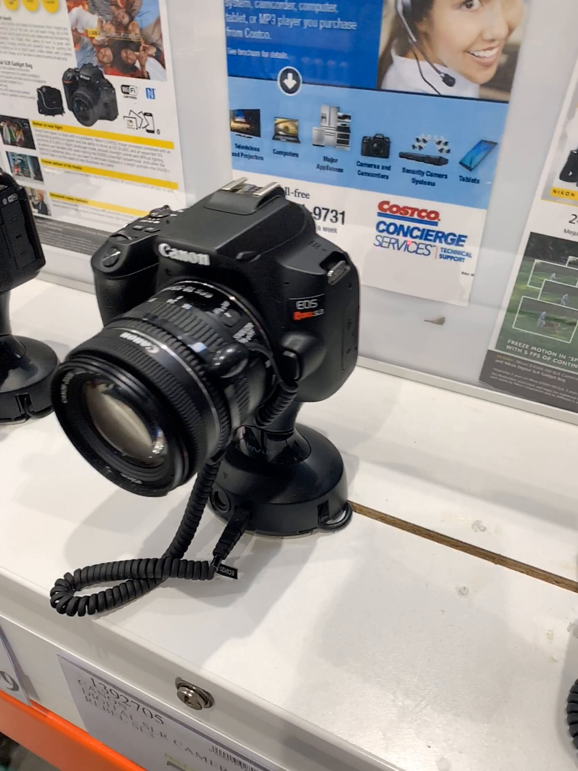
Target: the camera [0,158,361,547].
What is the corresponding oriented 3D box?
[{"bbox_3d":[-0.048,-0.025,0.242,0.120,0.089,0.111,15,40,23],"label":"camera"}]
